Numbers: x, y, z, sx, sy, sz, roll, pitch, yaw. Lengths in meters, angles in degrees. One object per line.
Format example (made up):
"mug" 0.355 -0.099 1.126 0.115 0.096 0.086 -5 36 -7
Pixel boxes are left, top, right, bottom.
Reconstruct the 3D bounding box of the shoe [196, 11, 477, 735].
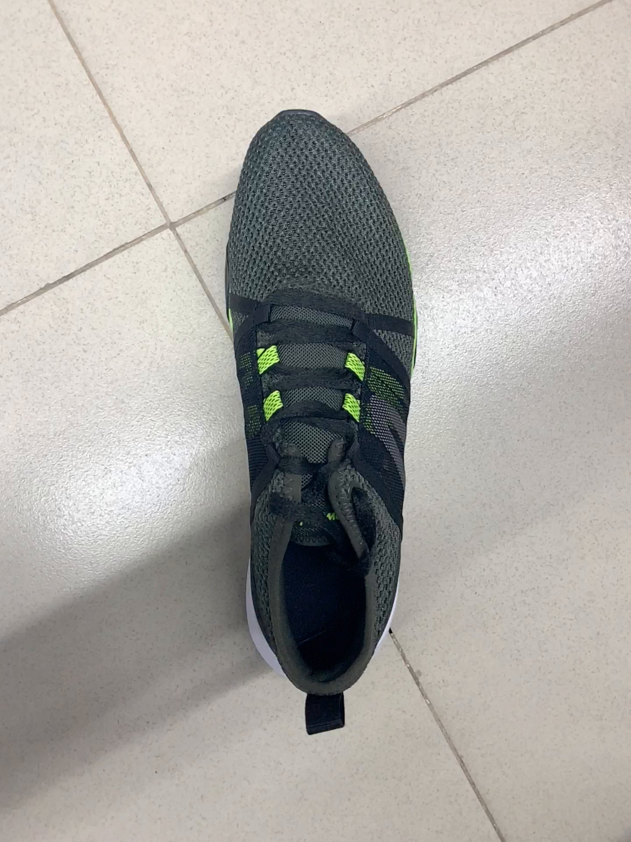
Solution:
"shoe" 0.008 -0.020 0.321 0.110 0.100 0.300 -2 92 -2
